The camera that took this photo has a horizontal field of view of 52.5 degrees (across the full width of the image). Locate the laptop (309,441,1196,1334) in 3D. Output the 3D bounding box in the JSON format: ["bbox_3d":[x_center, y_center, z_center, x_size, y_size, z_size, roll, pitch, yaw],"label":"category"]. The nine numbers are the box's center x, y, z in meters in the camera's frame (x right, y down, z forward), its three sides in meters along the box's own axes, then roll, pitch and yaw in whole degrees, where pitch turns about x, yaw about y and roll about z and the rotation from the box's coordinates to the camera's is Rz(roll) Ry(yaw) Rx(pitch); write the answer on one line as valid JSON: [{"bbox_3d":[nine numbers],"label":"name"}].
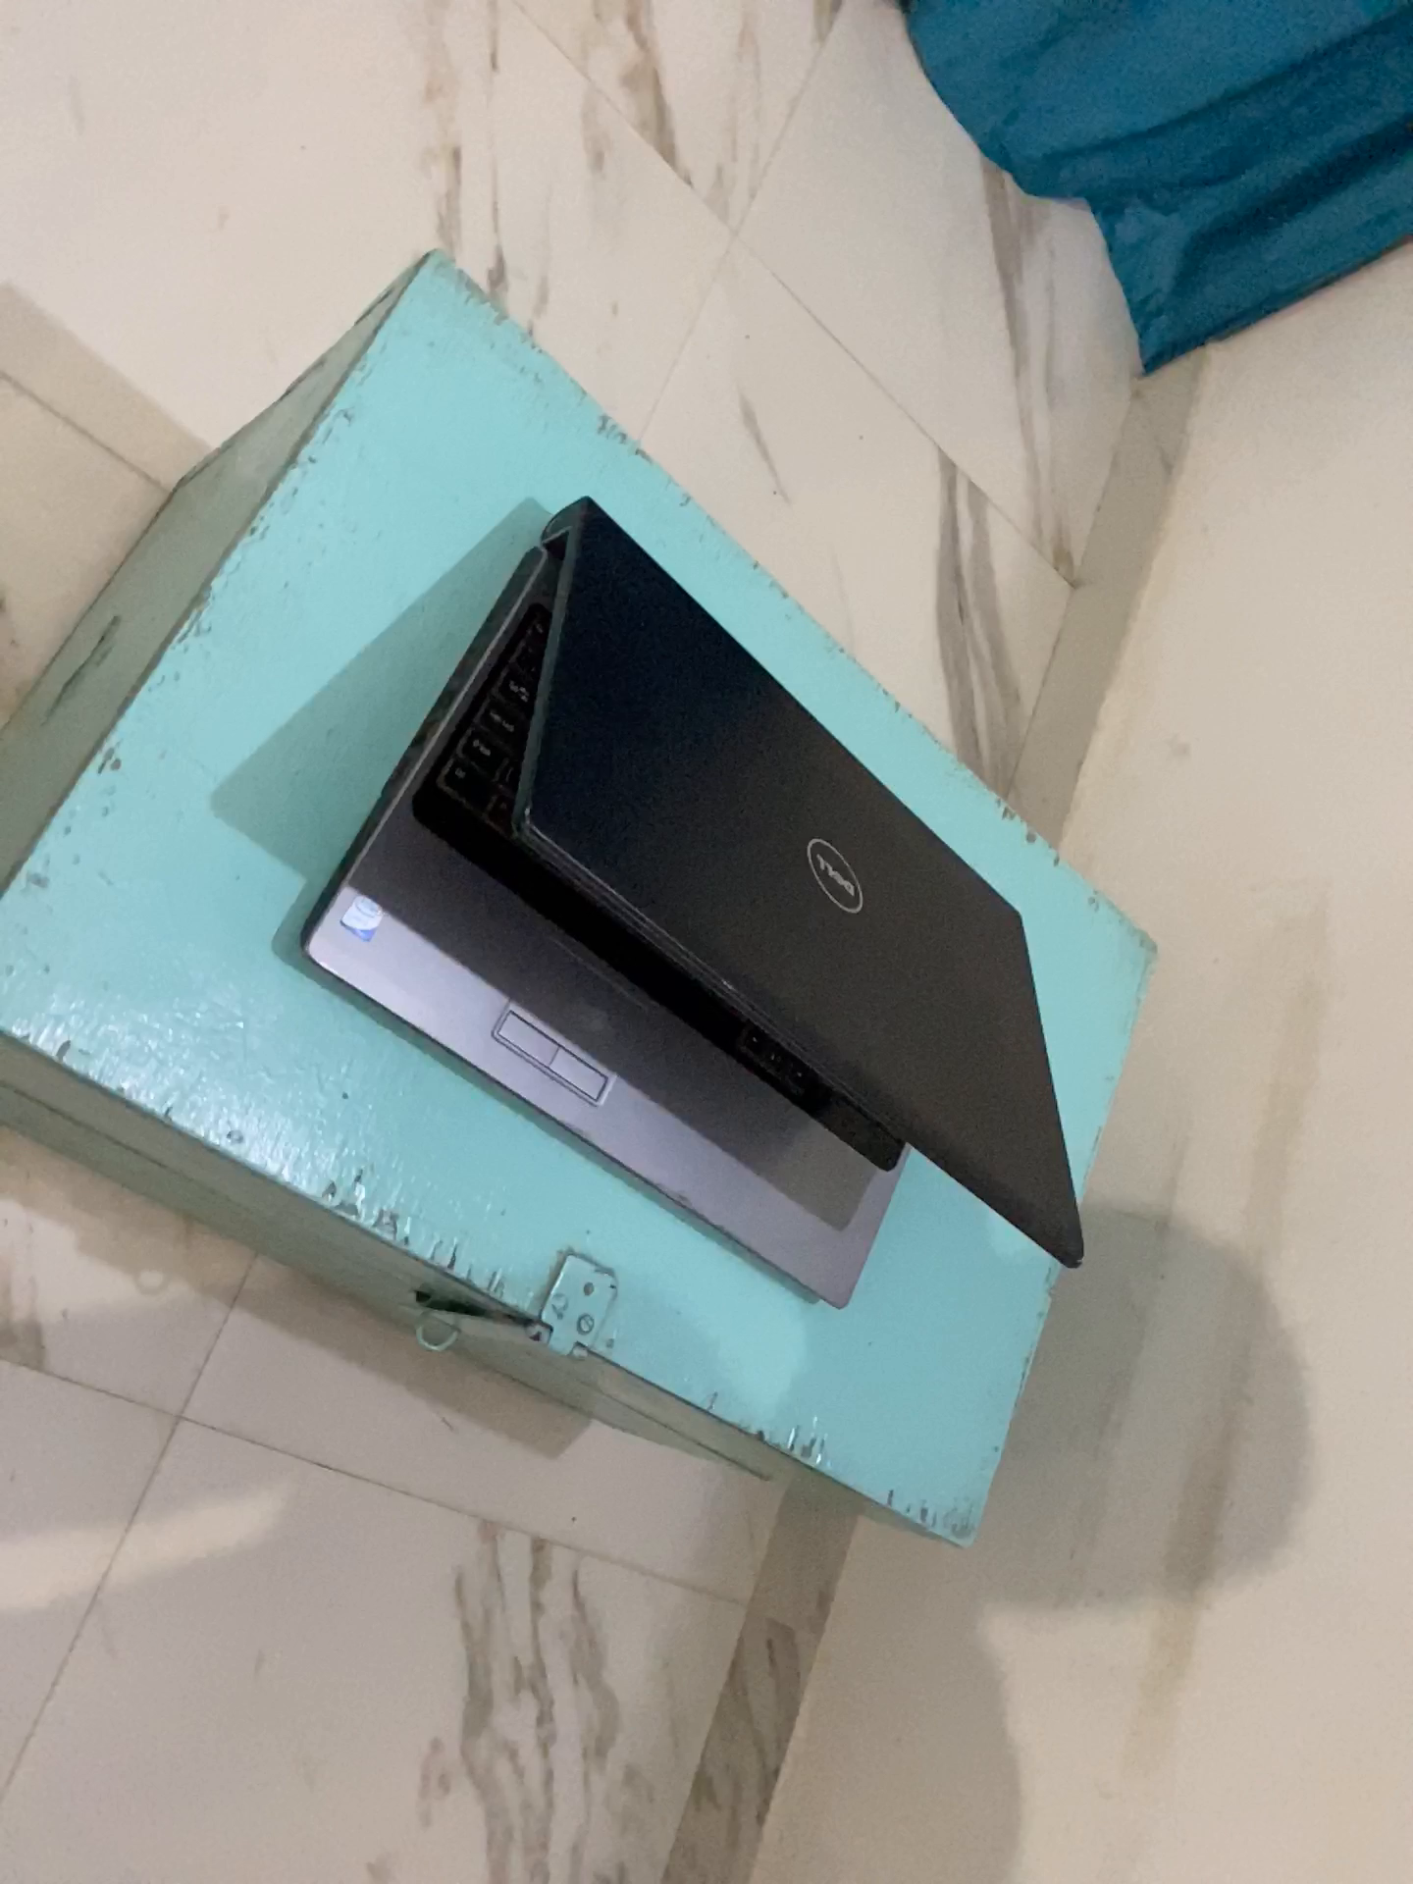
[{"bbox_3d":[0.050,-0.006,0.749,0.388,0.152,0.261,38,66,-29],"label":"laptop"}]
